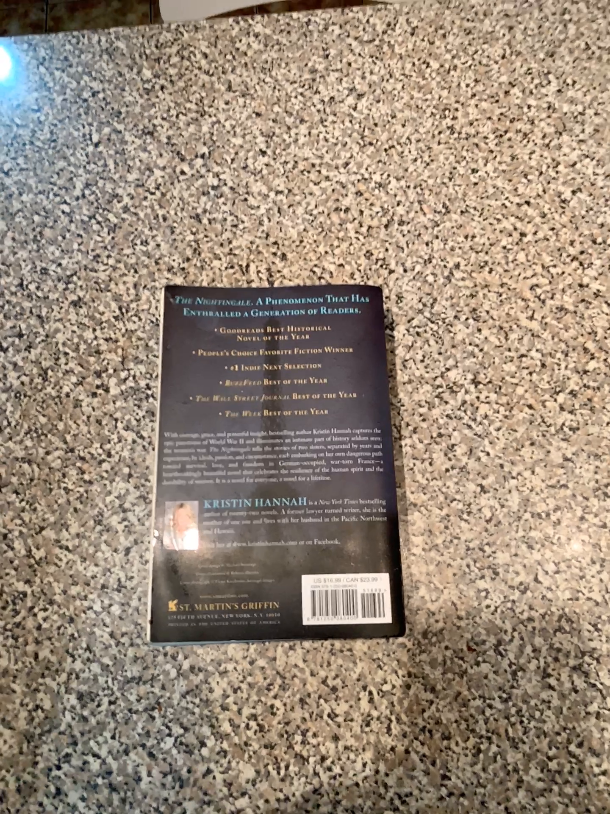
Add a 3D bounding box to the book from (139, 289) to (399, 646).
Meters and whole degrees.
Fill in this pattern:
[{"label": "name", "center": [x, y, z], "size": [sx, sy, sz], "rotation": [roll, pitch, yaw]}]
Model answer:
[{"label": "book", "center": [-0.019, 0.035, 0.384], "size": [0.139, 0.056, 0.207], "rotation": [-1, 74, 2]}]
